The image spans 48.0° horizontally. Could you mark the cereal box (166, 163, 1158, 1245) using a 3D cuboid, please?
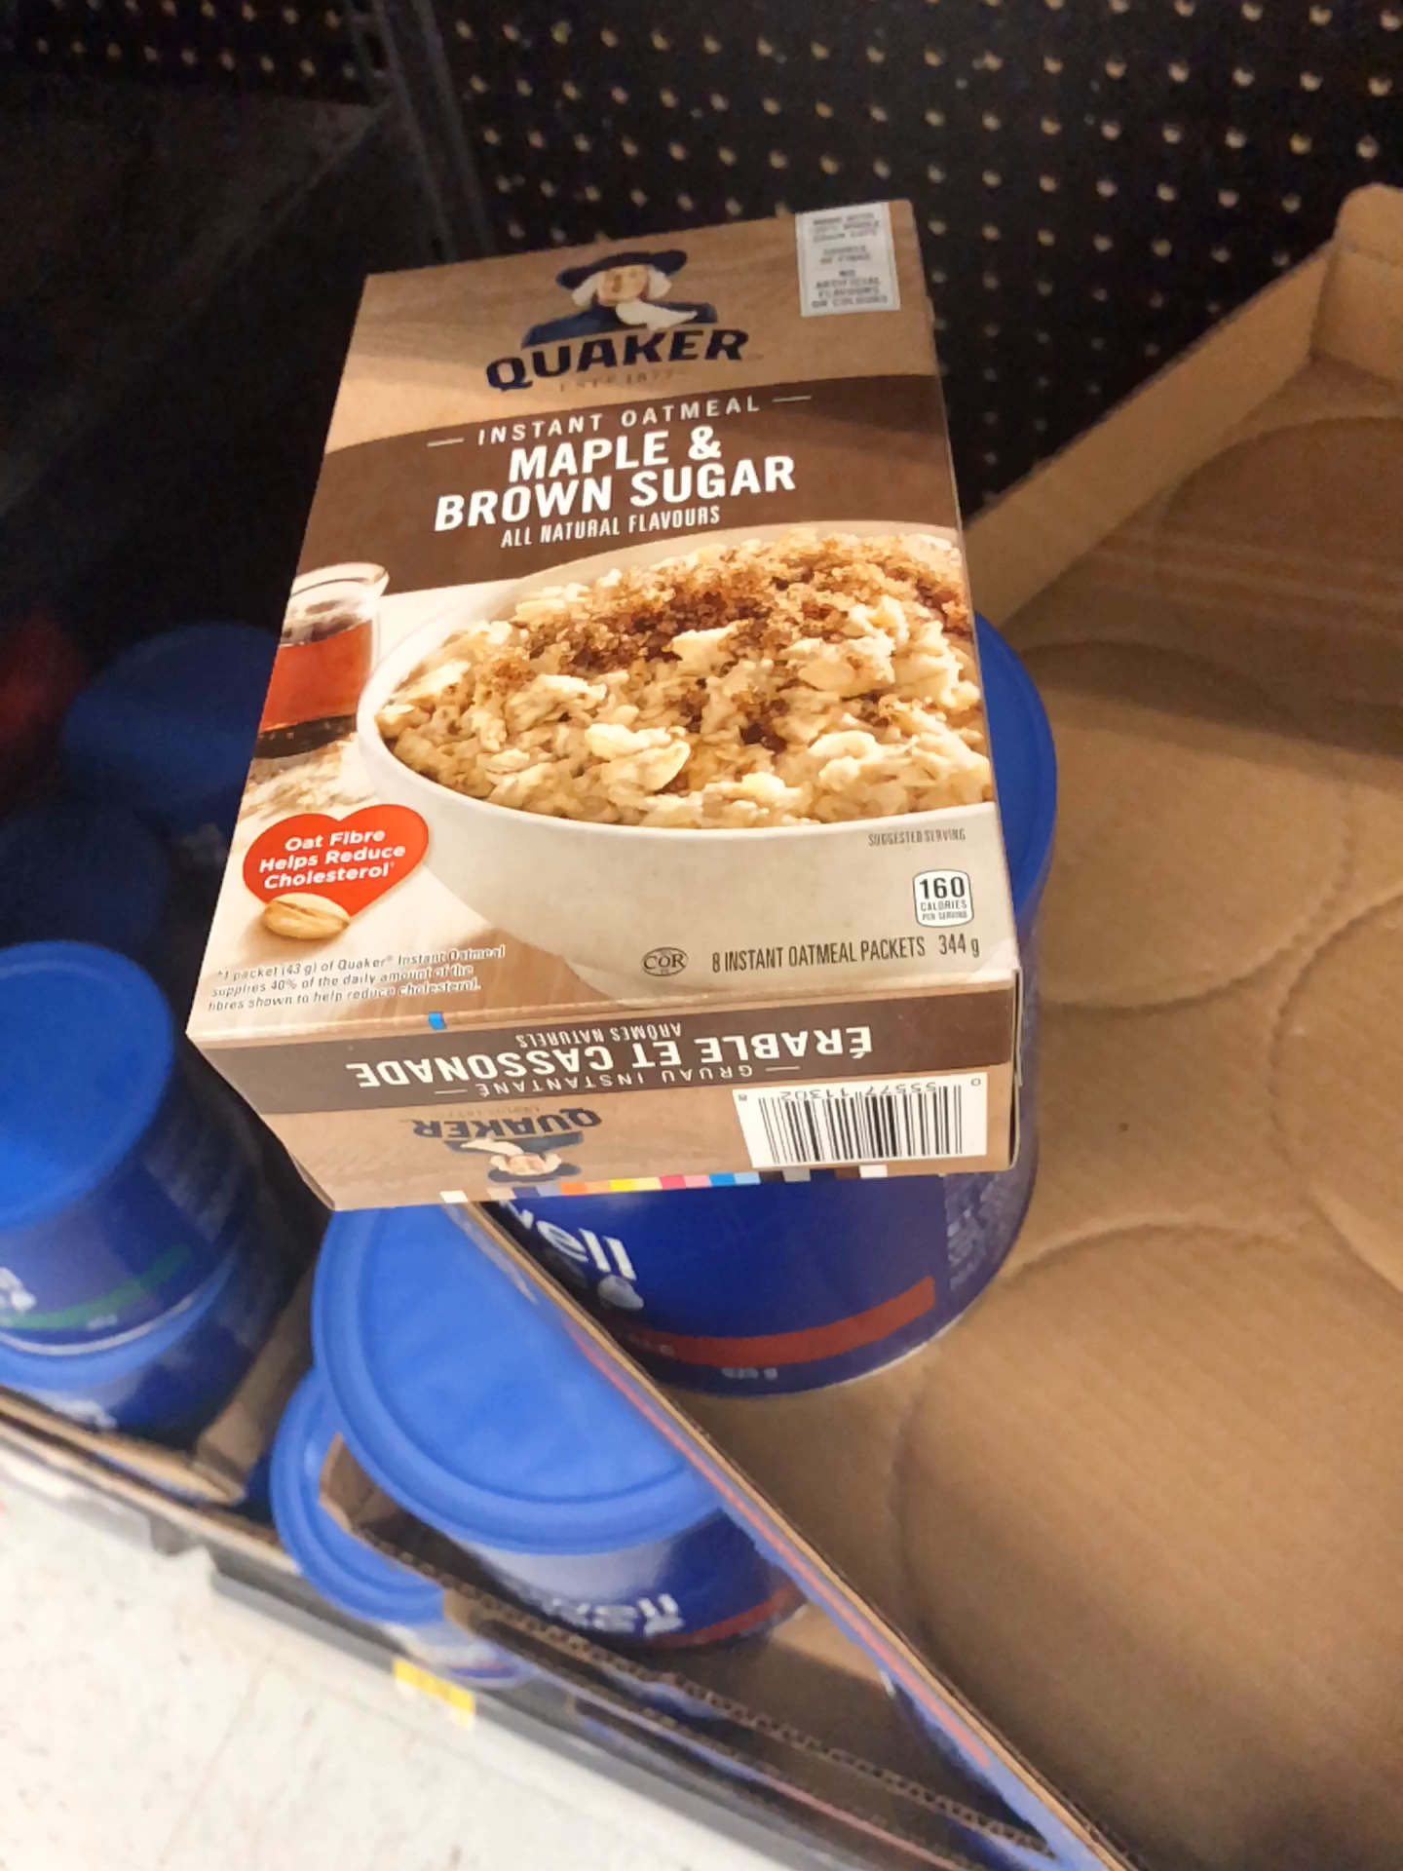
[{"bbox_3d":[-0.003,-0.052,0.305,0.140,0.070,0.201,-5,55,7],"label":"cereal box"}]
